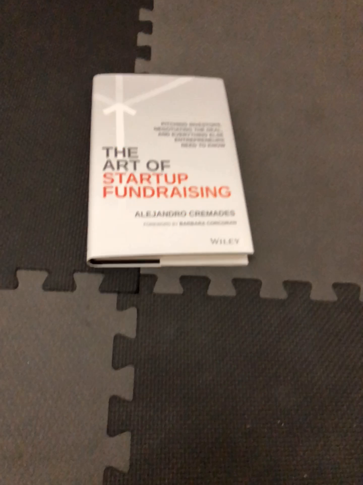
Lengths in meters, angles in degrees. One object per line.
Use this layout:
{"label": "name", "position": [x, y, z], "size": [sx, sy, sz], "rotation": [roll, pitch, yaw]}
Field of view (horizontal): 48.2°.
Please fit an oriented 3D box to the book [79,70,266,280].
{"label": "book", "position": [-0.014, -0.082, 0.438], "size": [0.170, 0.030, 0.251], "rotation": [0, 62, -8]}
